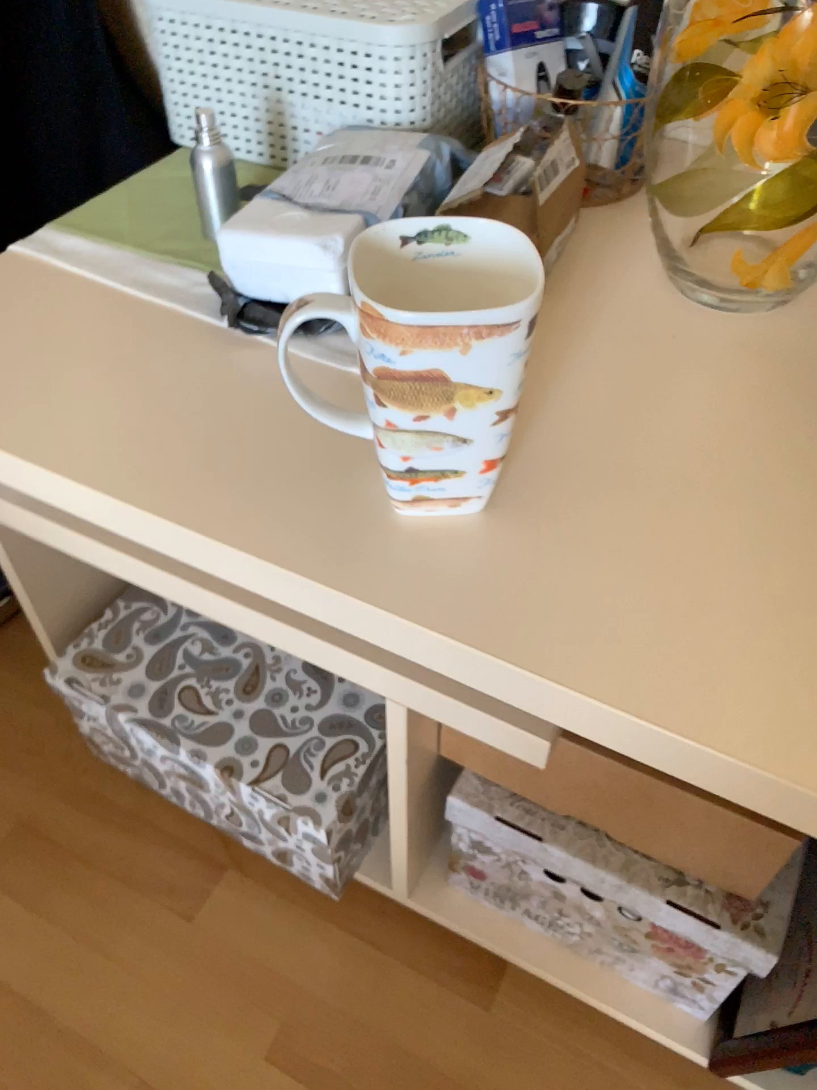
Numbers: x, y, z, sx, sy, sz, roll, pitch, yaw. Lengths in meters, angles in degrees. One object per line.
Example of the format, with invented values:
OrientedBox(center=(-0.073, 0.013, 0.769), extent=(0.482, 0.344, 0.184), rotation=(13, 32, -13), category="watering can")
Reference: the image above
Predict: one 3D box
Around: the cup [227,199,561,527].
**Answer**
OrientedBox(center=(-0.008, -0.092, 0.434), extent=(0.140, 0.129, 0.101), rotation=(-1, 46, -2), category="cup")
